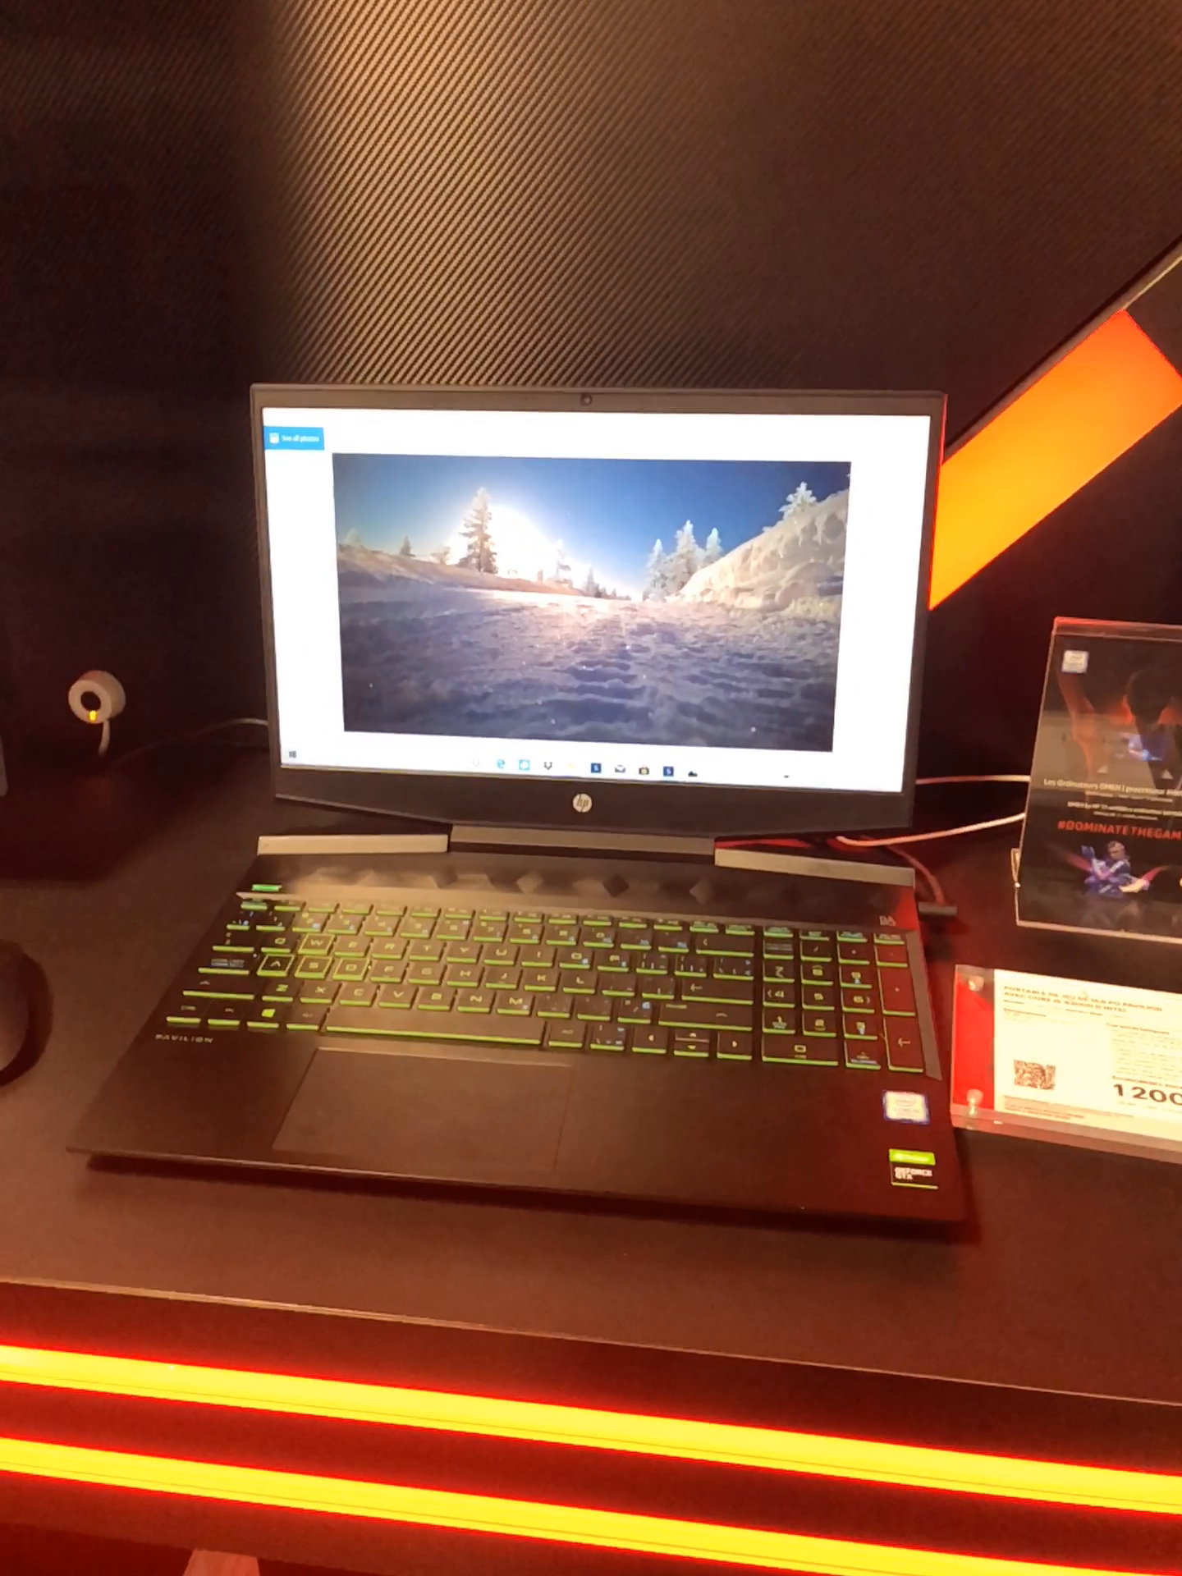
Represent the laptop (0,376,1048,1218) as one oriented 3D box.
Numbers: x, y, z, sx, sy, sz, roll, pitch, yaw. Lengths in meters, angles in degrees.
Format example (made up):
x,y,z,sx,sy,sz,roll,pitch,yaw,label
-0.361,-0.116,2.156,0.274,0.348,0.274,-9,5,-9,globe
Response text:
x,y,z,sx,sy,sz,roll,pitch,yaw,label
-0.017,-0.032,0.593,0.355,0.240,0.315,2,27,8,laptop
